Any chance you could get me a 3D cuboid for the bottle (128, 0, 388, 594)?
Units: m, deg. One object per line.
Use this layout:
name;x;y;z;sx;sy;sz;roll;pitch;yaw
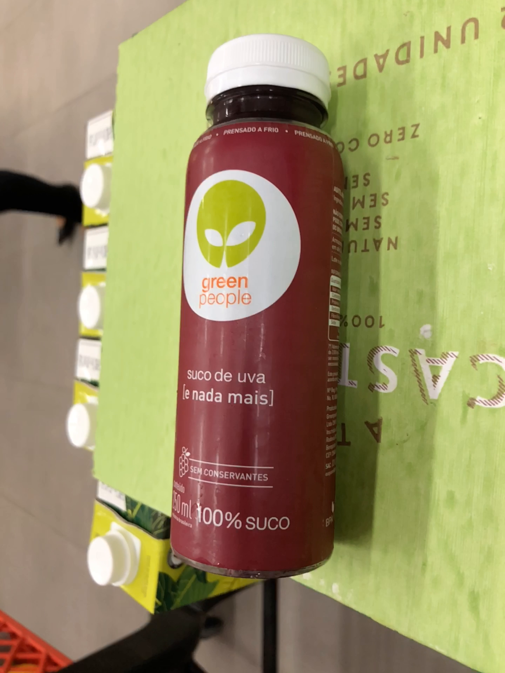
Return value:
bottle;0.005;-0.020;0.184;0.060;0.060;0.170;2;89;24
